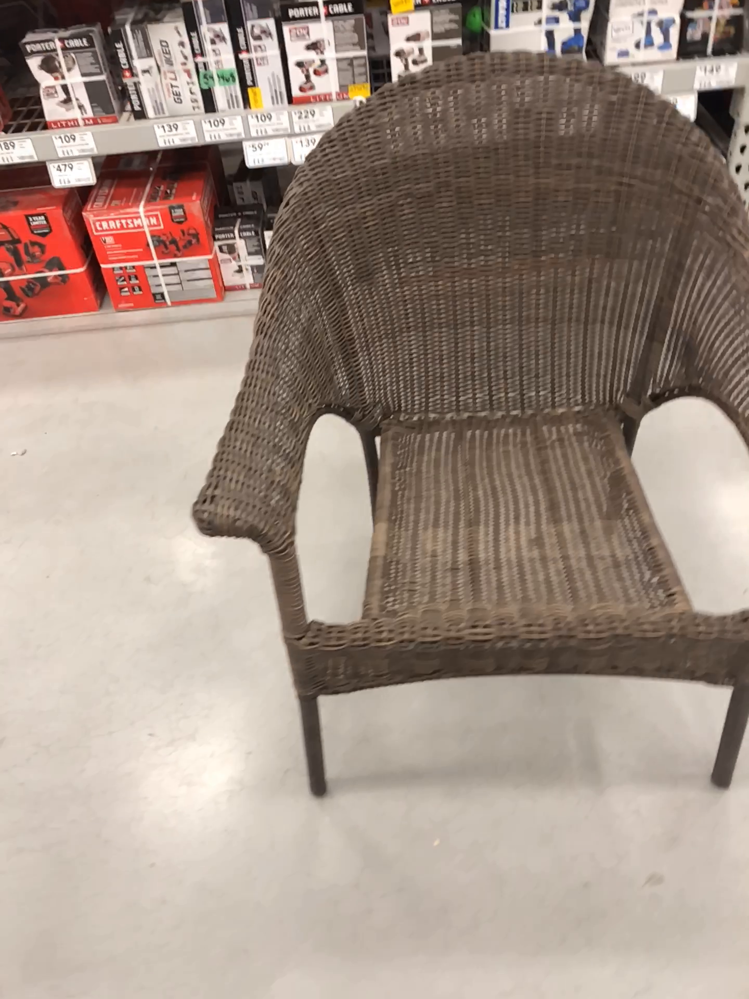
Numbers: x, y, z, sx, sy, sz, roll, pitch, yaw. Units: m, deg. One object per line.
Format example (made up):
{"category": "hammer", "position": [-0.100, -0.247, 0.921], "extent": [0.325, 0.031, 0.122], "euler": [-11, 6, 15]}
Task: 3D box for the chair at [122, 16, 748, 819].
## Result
{"category": "chair", "position": [0.196, -0.102, 1.174], "extent": [0.720, 0.797, 0.763], "euler": [-3, 45, 4]}
